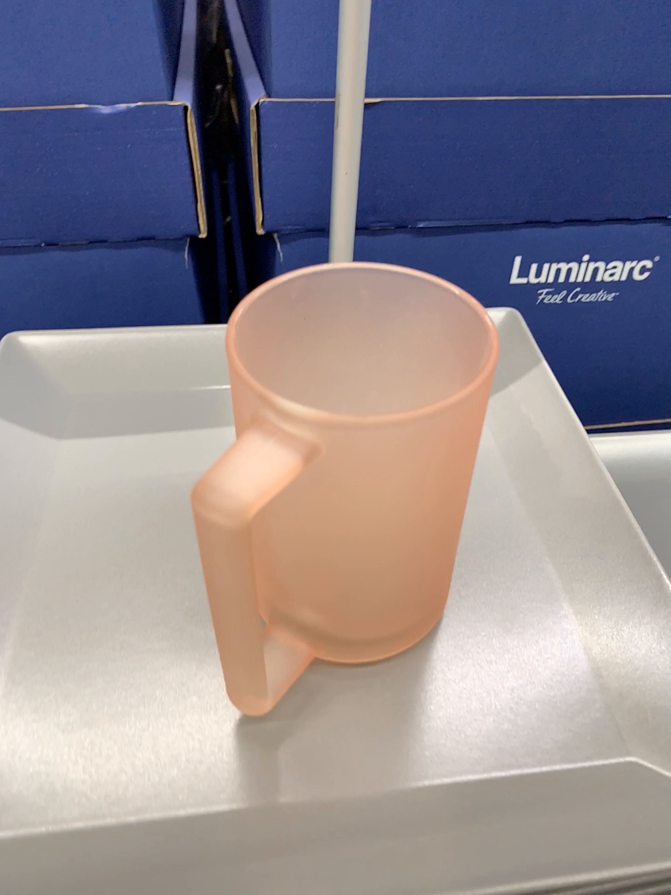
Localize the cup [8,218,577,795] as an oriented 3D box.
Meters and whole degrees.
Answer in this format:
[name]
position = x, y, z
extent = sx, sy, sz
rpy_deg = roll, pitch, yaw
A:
[cup]
position = -0.006, 0.007, 0.213
extent = 0.095, 0.095, 0.120
rpy_deg = 26, 47, 26
